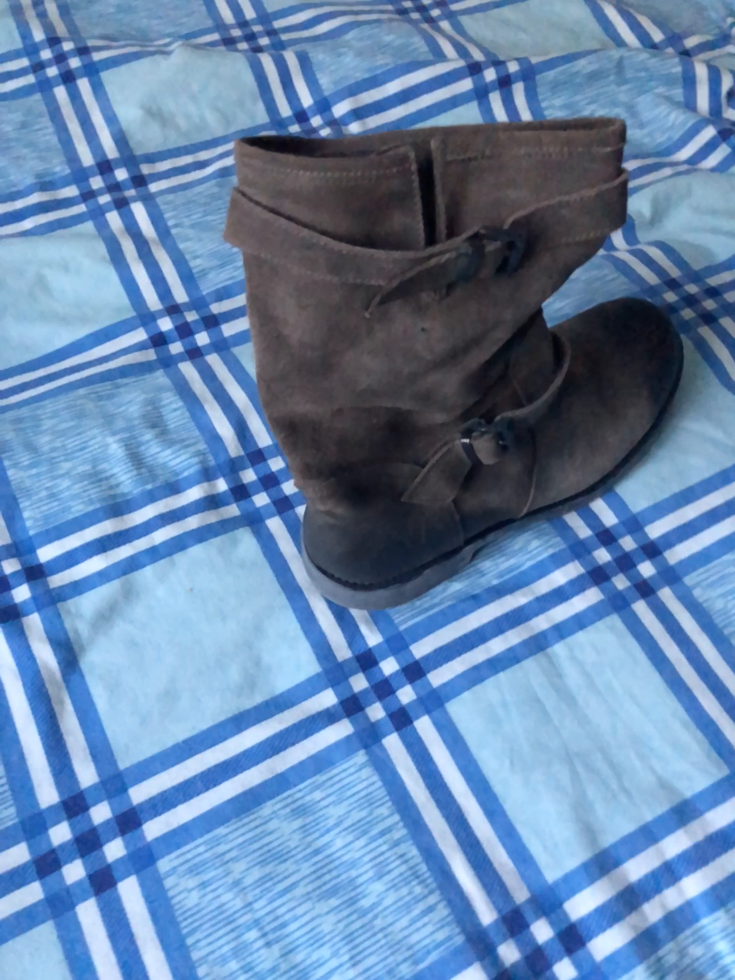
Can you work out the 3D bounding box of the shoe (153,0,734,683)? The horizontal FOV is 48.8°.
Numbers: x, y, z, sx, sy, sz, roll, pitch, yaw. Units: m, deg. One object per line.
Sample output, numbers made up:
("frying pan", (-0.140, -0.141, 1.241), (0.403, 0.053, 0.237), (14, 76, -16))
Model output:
("shoe", (0.084, -0.078, 0.453), (0.320, 0.289, 0.130), (-31, 65, -18))
